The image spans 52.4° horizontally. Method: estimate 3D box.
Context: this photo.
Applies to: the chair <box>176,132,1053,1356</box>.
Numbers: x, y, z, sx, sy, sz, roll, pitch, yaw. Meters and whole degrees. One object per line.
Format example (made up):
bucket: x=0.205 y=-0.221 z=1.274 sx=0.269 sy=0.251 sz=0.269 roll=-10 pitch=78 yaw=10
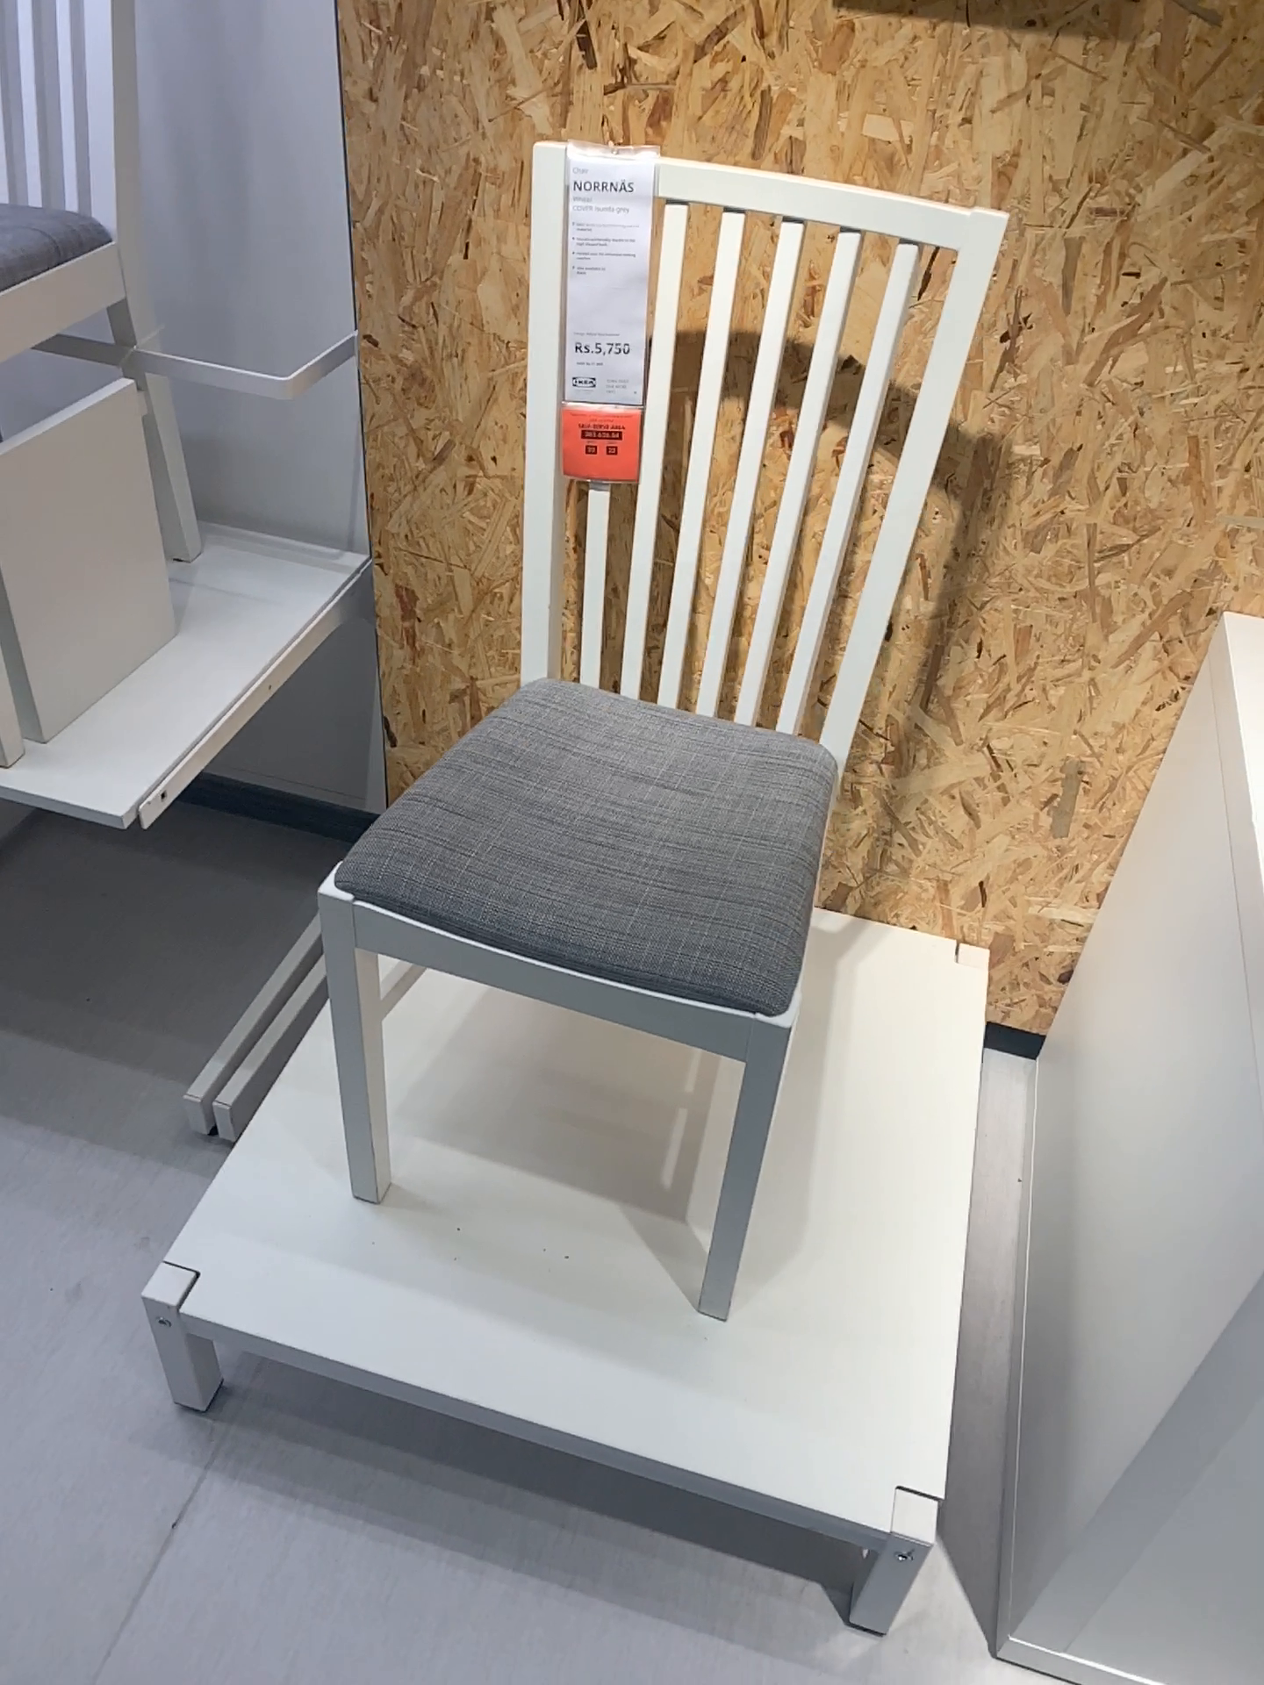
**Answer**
chair: x=0.014 y=-0.082 z=1.218 sx=0.470 sy=0.896 sz=0.592 roll=15 pitch=41 yaw=11
